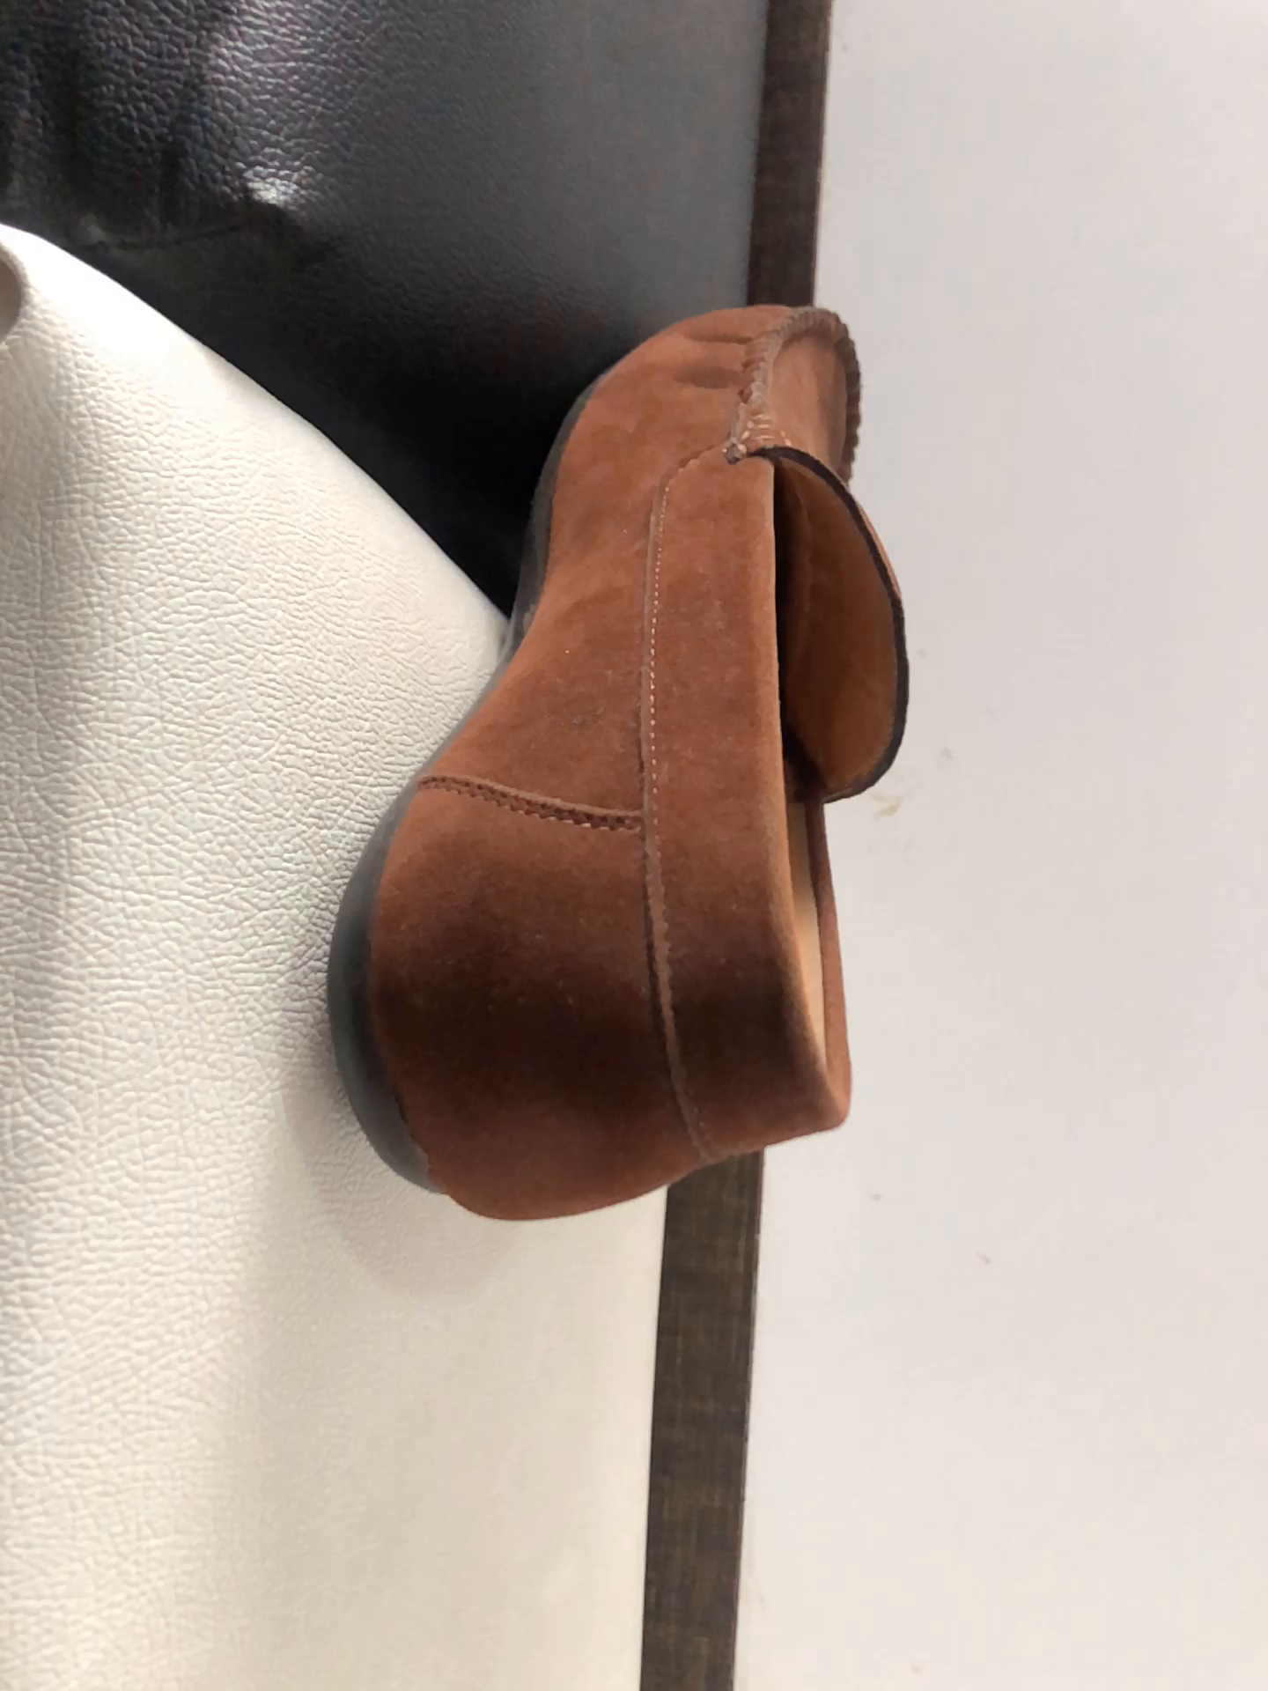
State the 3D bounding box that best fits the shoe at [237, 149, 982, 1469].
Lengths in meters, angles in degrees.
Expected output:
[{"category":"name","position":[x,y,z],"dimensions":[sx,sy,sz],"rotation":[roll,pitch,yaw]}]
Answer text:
[{"category":"shoe","position":[0.031,-0.036,0.326],"dimensions":[0.291,0.080,0.140],"rotation":[-71,156,-45]}]
